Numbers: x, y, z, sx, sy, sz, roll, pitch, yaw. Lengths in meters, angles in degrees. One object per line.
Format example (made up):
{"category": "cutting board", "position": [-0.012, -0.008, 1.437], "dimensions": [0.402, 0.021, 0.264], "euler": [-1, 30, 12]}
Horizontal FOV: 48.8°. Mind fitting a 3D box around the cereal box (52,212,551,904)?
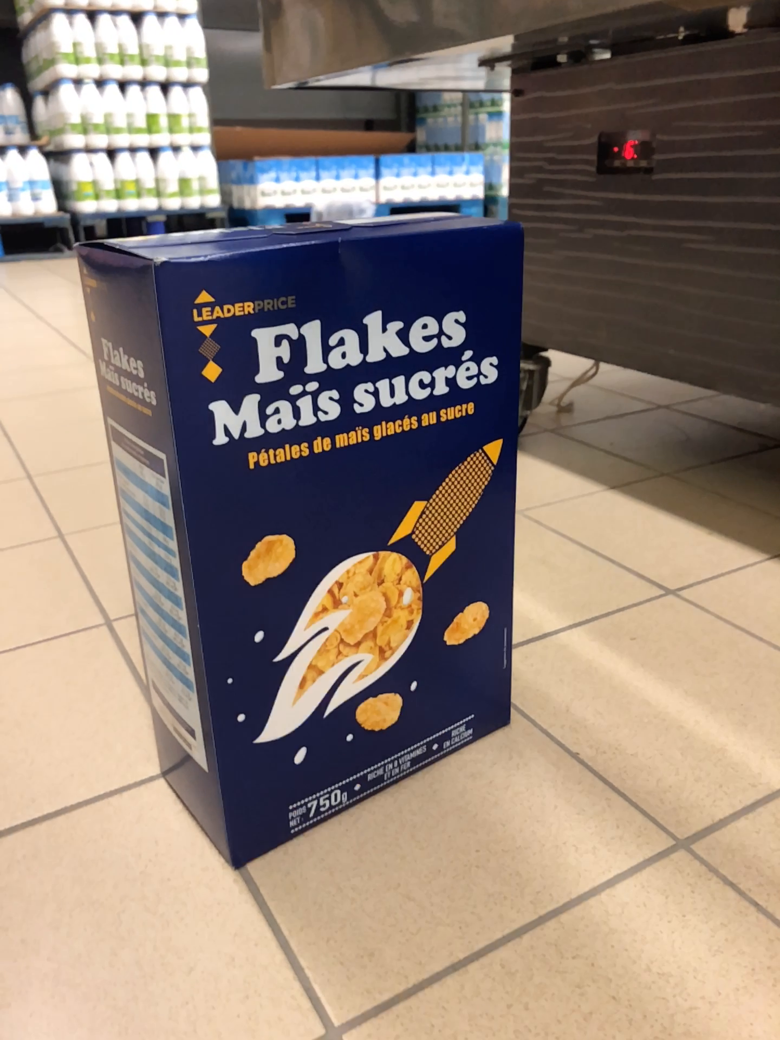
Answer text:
{"category": "cereal box", "position": [-0.033, 0.005, 0.458], "dimensions": [0.211, 0.308, 0.100], "euler": [-15, 25, -31]}
